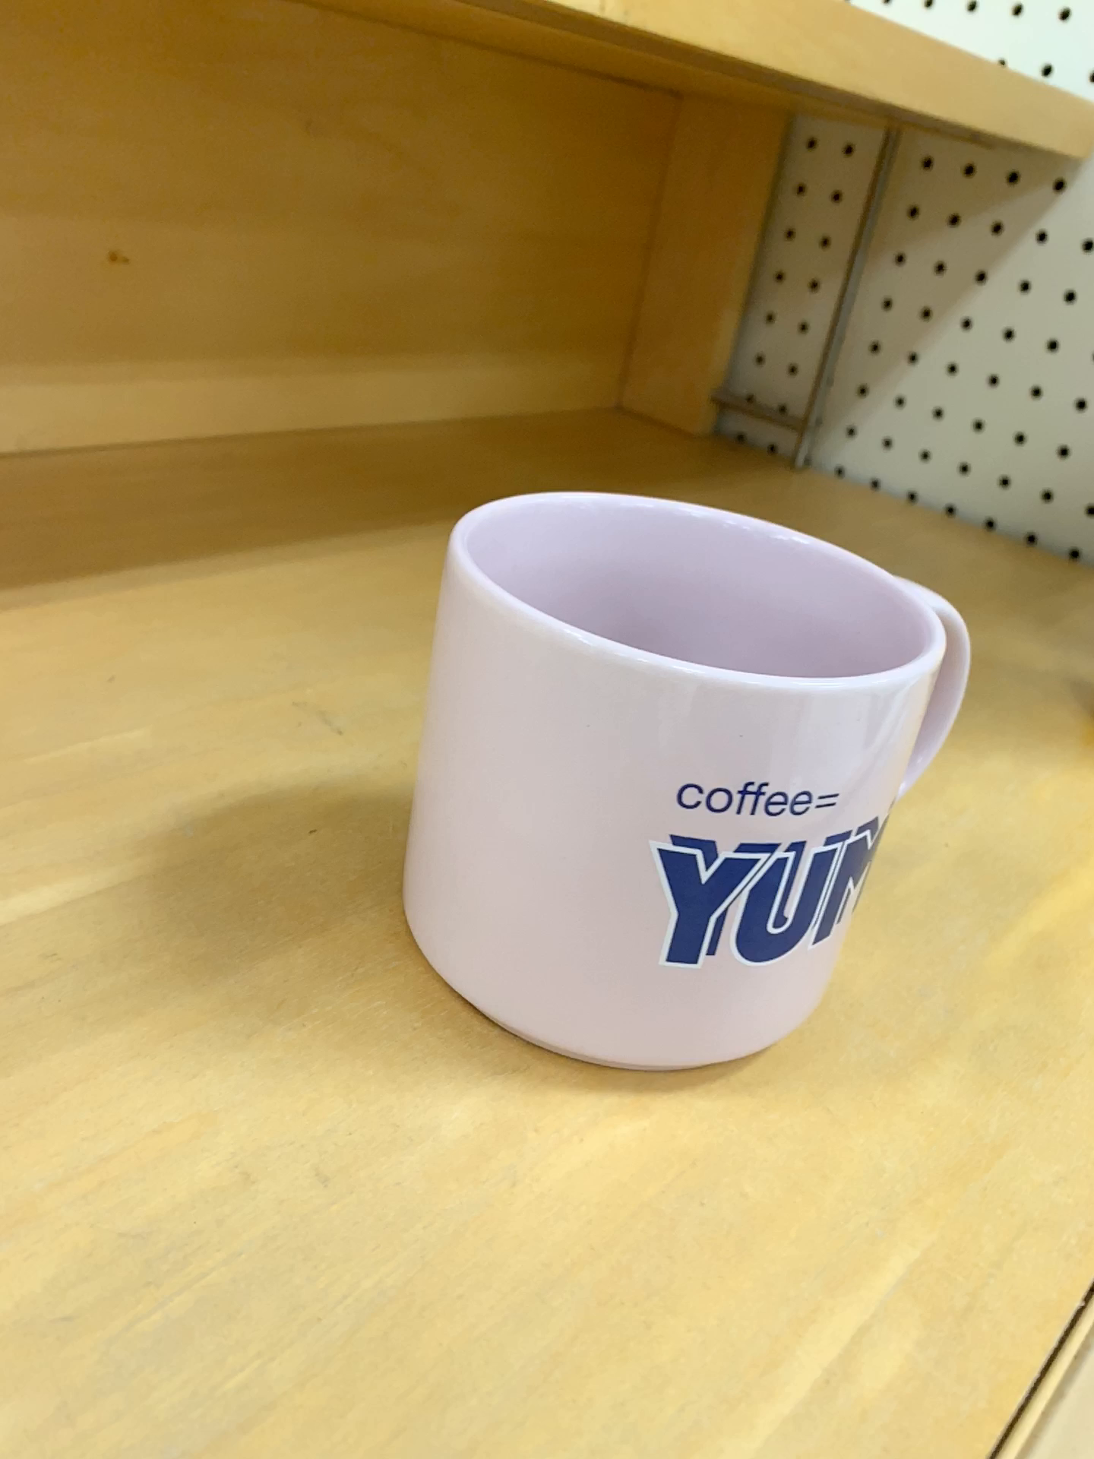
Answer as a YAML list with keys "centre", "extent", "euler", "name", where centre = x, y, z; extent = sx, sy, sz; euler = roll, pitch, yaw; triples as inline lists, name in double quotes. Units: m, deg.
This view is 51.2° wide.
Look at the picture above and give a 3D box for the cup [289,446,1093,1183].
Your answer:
- centre: [0.036, -0.001, 0.237]
  extent: [0.142, 0.082, 0.097]
  euler: [-17, 38, -42]
  name: "cup"
